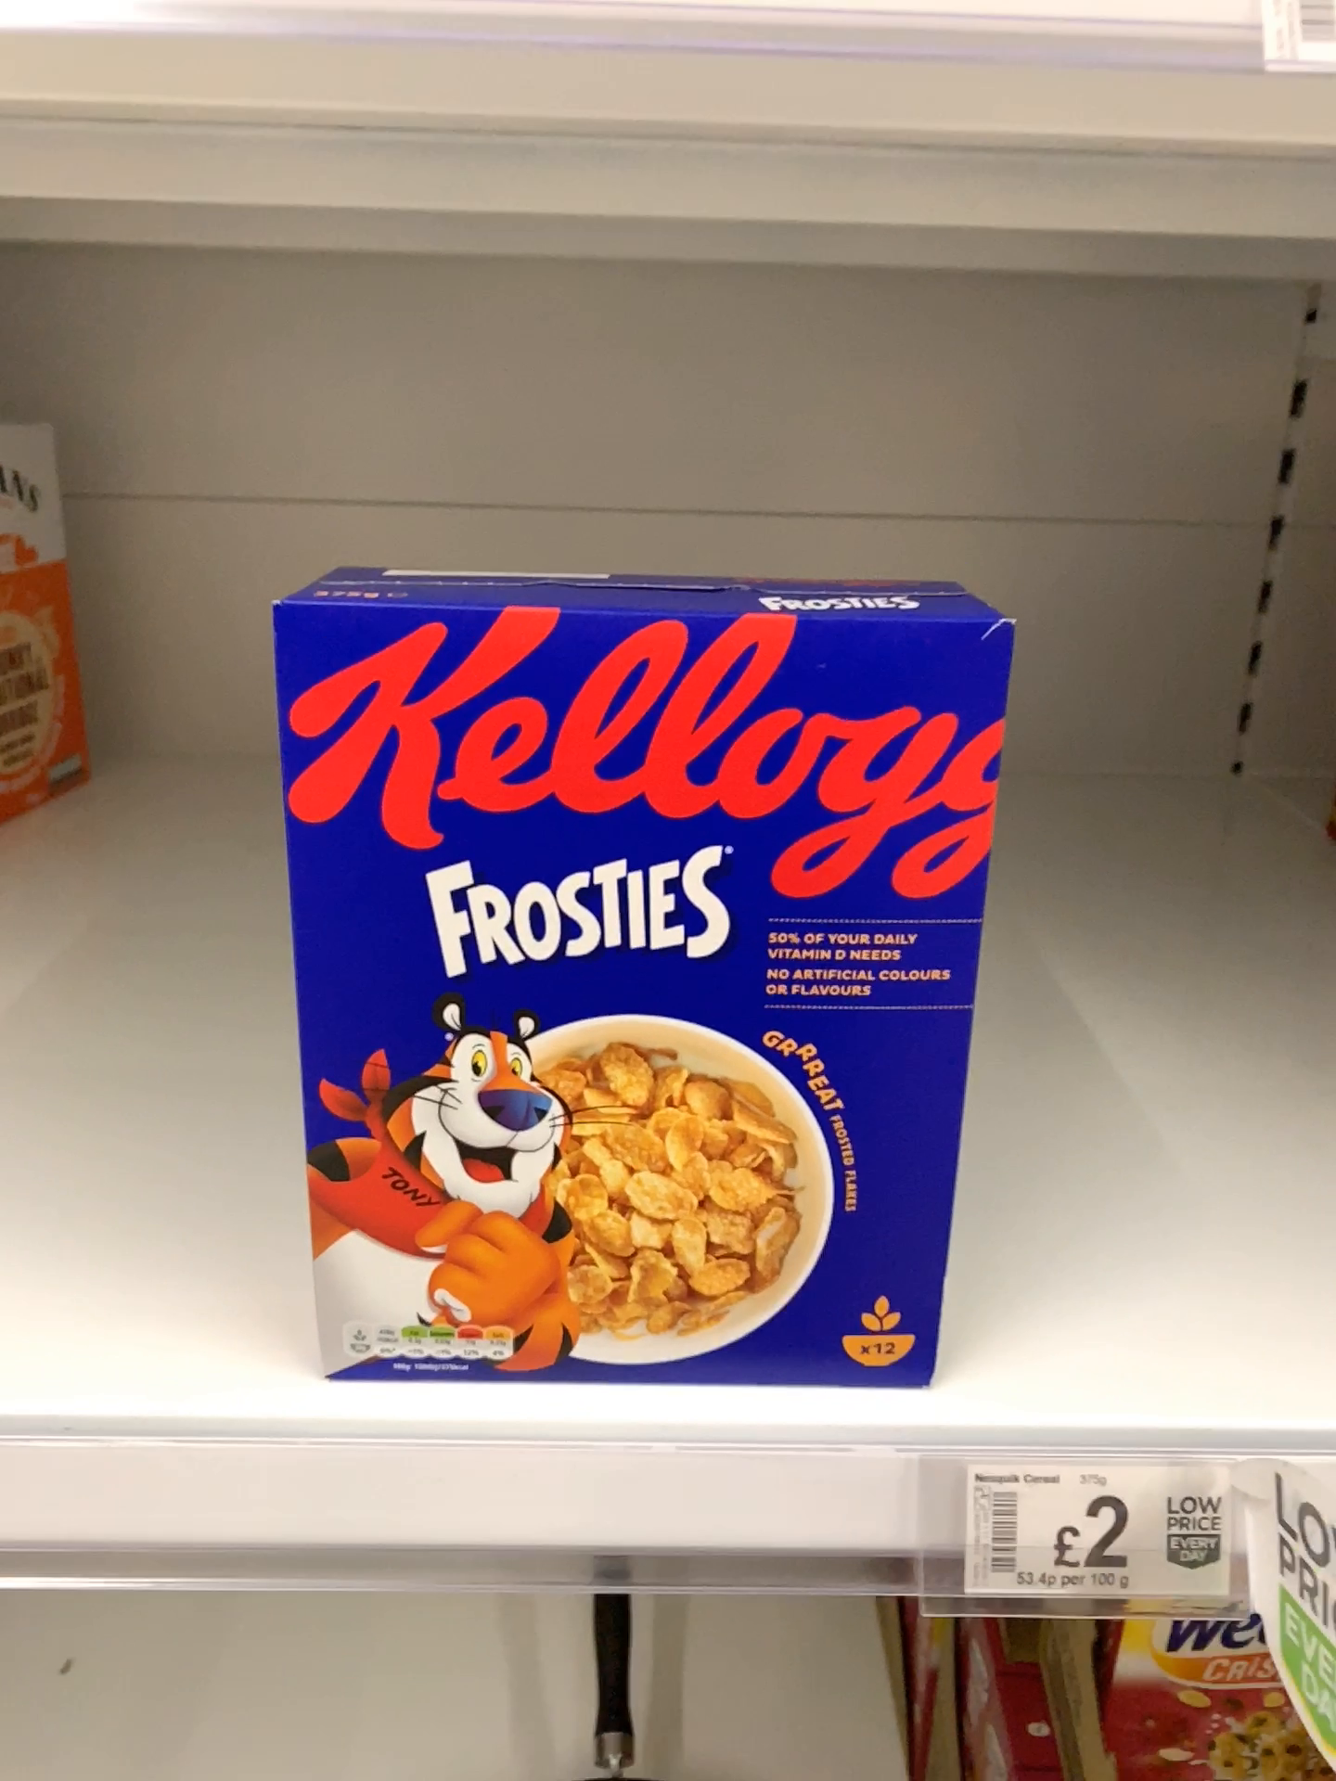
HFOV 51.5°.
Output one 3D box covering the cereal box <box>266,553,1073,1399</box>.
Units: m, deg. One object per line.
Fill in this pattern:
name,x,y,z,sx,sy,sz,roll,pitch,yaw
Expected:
cereal box,-0.003,0.027,0.420,0.200,0.238,0.081,1,20,-1
